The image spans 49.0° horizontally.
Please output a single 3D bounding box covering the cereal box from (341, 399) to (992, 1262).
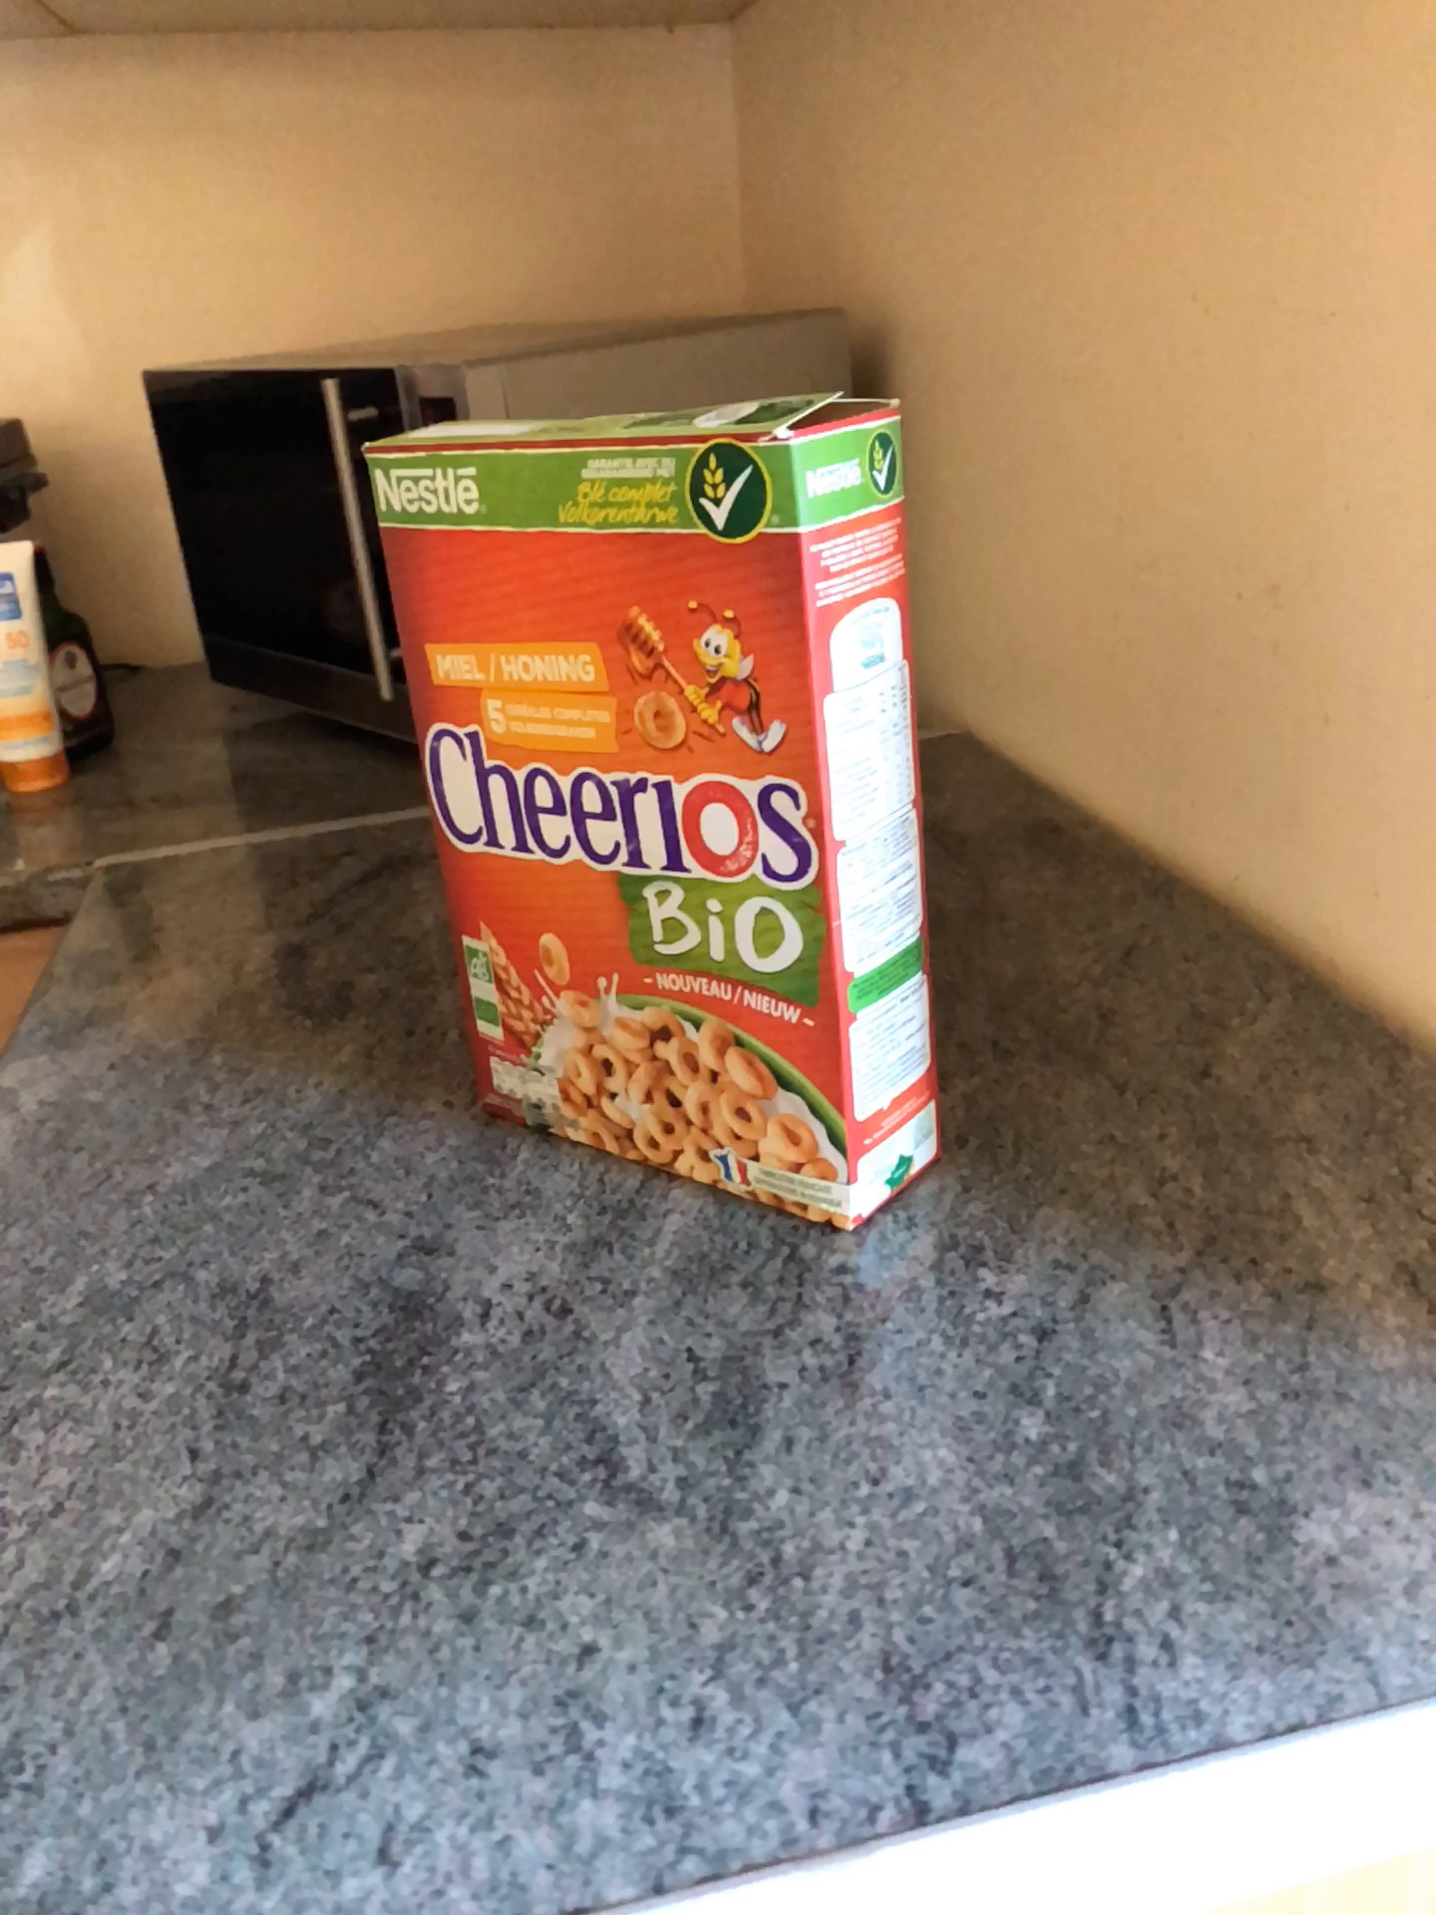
[{"bbox_3d":[-0.015,-0.052,0.555,0.200,0.259,0.080,12,27,38],"label":"cereal box"}]
